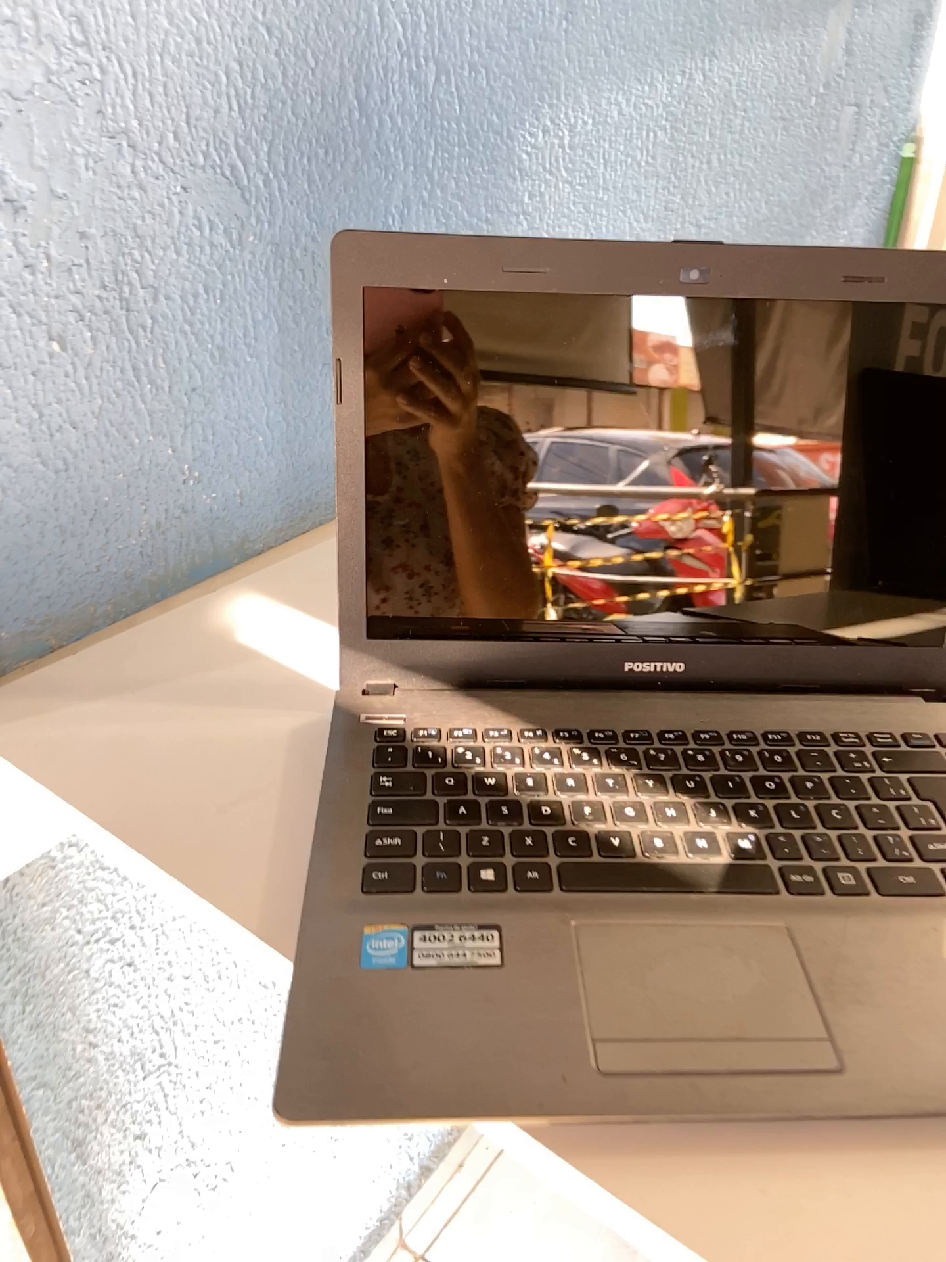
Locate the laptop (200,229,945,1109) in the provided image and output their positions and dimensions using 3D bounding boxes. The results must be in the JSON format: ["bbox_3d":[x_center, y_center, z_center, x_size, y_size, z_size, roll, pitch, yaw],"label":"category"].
[{"bbox_3d":[0.103,-0.014,0.383,0.334,0.211,0.284,1,30,-2],"label":"laptop"}]
